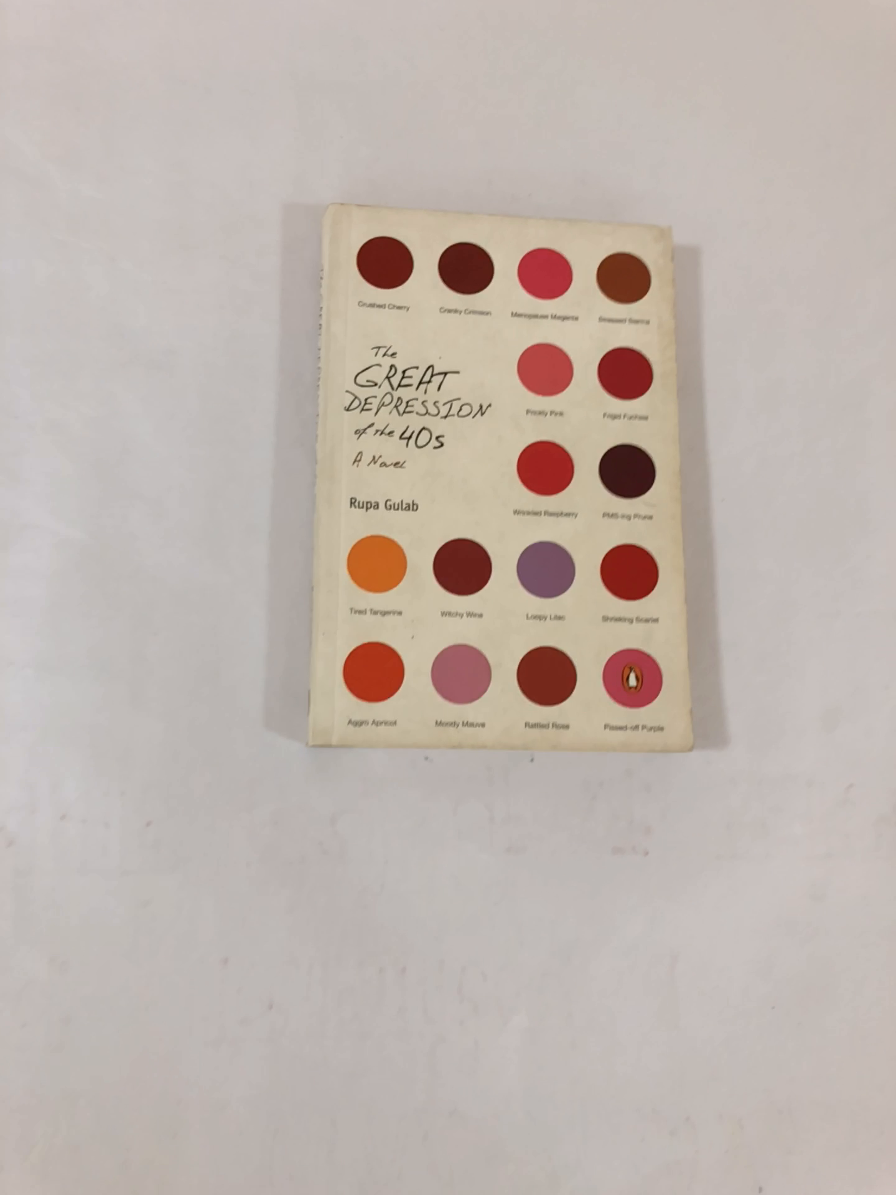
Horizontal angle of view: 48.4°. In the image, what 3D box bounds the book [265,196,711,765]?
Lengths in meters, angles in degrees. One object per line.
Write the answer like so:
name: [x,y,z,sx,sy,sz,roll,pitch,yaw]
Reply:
book: [0.013,-0.040,0.344,0.140,0.030,0.190,1,79,-5]
